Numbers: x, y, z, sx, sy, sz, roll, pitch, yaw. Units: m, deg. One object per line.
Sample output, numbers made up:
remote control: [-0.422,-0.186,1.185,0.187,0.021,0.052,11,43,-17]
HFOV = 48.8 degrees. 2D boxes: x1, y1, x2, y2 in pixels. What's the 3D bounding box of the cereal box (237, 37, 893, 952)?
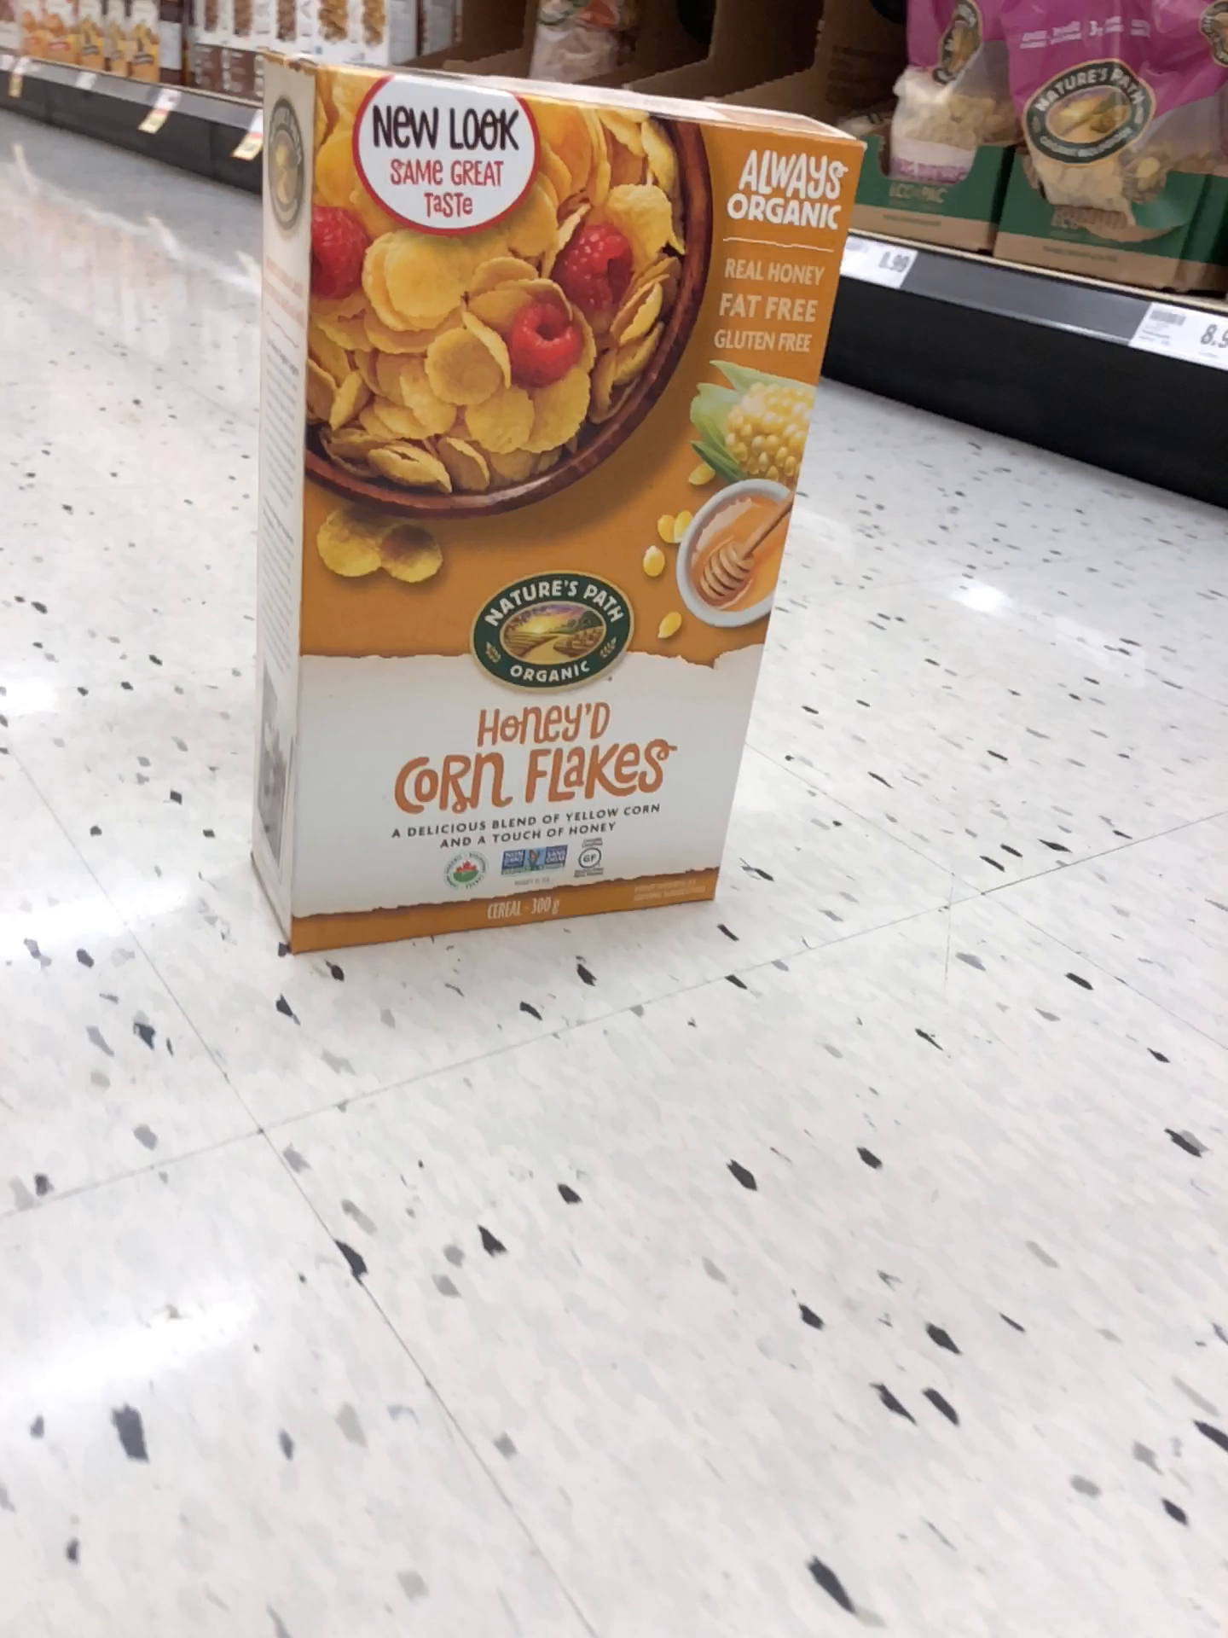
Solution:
cereal box: [-0.026,-0.085,0.407,0.160,0.239,0.060,-5,31,-24]
